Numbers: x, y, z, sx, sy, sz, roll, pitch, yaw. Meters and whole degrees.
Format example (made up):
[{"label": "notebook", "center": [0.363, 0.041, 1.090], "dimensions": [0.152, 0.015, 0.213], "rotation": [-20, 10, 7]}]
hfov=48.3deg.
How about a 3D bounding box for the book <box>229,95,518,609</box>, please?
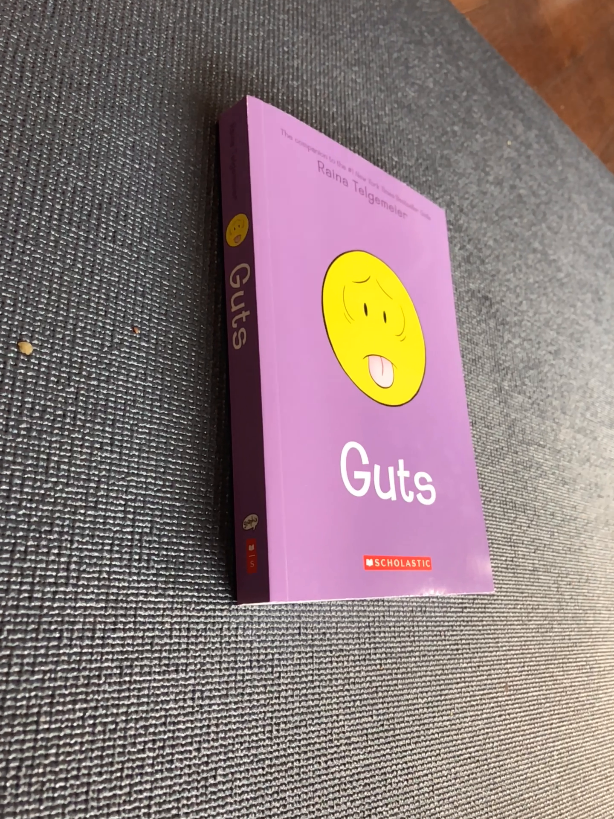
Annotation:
[{"label": "book", "center": [0.032, -0.018, 0.307], "dimensions": [0.144, 0.024, 0.202], "rotation": [14, 65, -43]}]
